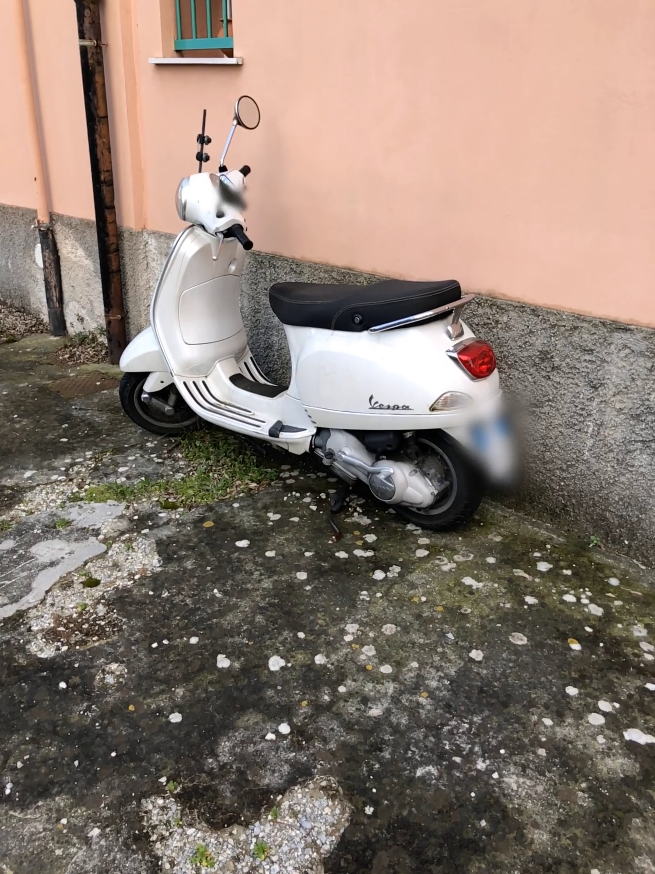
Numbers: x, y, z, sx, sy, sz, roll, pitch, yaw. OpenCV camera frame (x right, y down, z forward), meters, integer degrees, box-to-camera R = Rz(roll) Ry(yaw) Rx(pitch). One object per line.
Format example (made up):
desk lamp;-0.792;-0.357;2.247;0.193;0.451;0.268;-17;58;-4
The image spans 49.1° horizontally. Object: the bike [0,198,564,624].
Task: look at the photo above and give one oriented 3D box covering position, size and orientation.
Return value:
bike;-0.263;-0.217;2.446;1.659;1.085;0.646;14;26;31
